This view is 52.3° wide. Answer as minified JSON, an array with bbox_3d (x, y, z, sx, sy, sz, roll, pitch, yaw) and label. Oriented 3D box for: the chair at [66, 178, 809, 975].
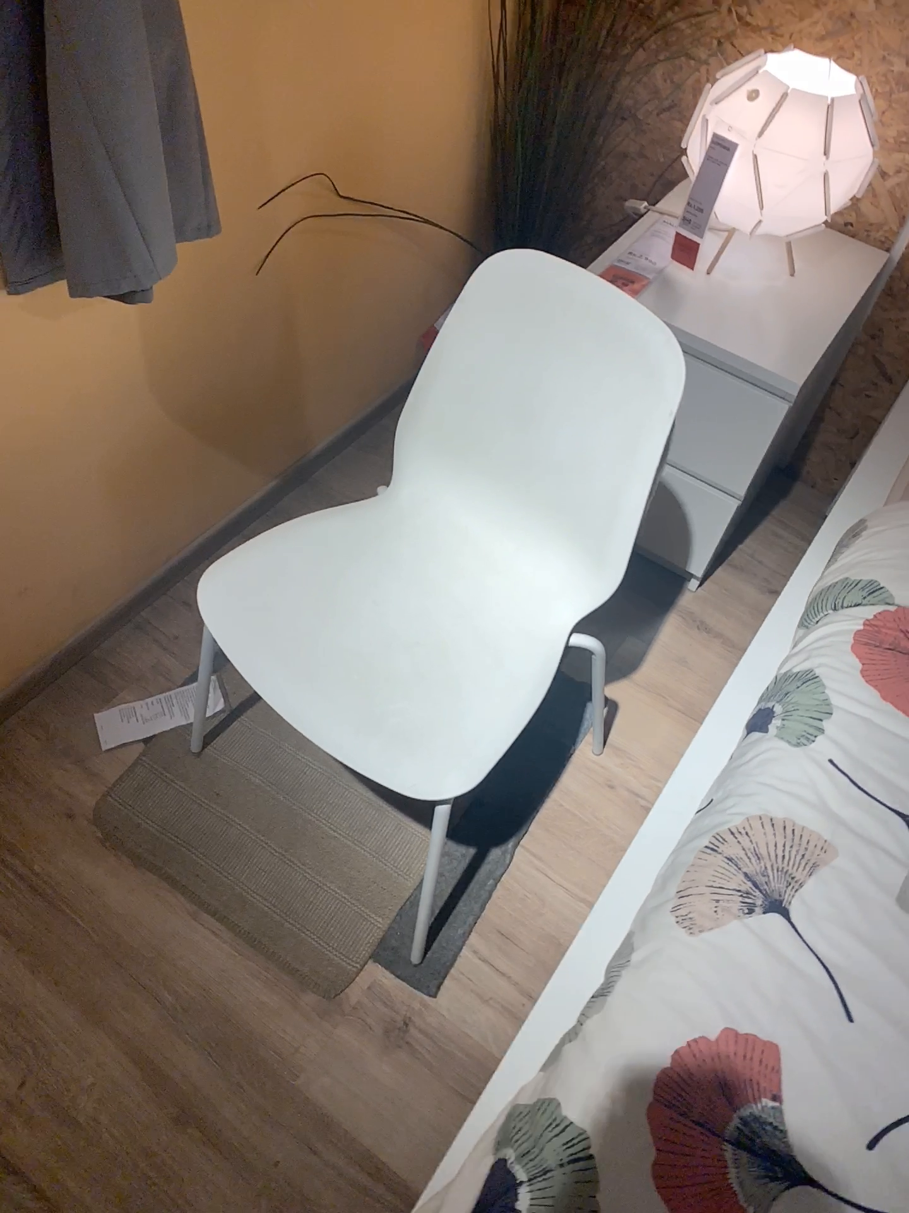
[{"bbox_3d":[-0.036,-0.015,1.259,0.541,0.758,0.561,36,56,19],"label":"chair"}]
